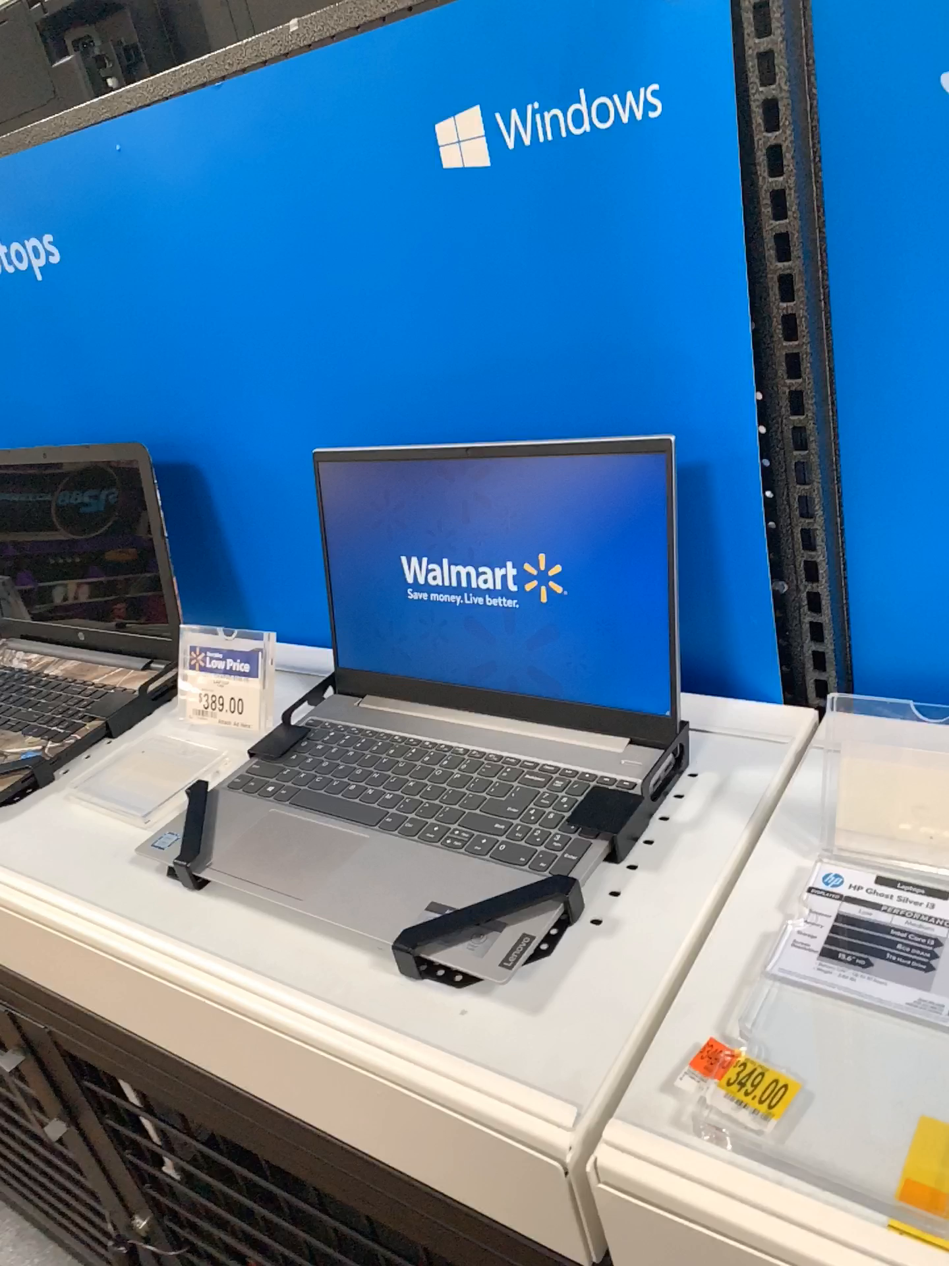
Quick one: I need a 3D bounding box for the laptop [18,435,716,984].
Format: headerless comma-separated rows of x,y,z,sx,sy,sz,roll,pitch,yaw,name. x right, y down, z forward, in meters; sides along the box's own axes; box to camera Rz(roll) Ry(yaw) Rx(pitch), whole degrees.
-0.063,0.019,0.707,0.351,0.217,0.298,5,31,37,laptop
